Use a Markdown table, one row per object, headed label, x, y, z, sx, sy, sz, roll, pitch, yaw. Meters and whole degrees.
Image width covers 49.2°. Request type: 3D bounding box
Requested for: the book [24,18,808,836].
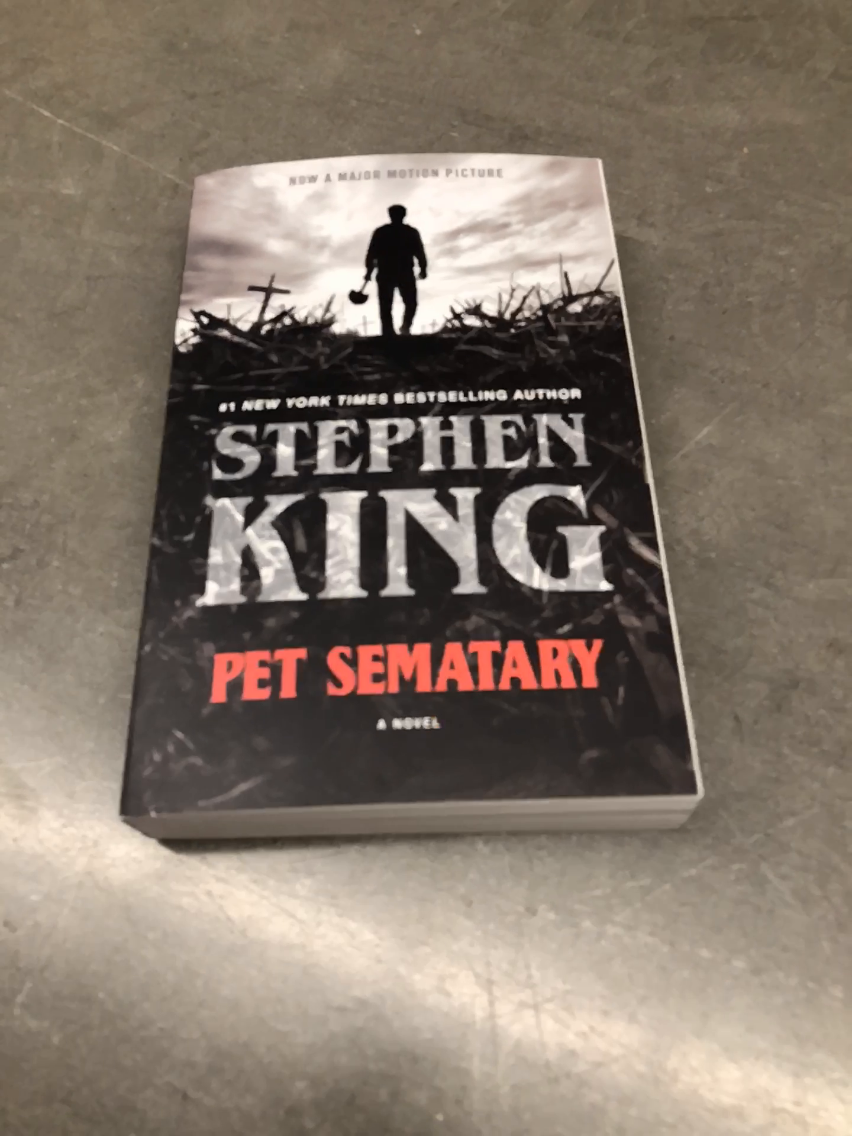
| label | x | y | z | sx | sy | sz | roll | pitch | yaw |
| --- | --- | --- | --- | --- | --- | --- | --- | --- | --- |
| book | -0.005 | -0.046 | 0.254 | 0.160 | 0.050 | 0.221 | -2 | 68 | 0 |
